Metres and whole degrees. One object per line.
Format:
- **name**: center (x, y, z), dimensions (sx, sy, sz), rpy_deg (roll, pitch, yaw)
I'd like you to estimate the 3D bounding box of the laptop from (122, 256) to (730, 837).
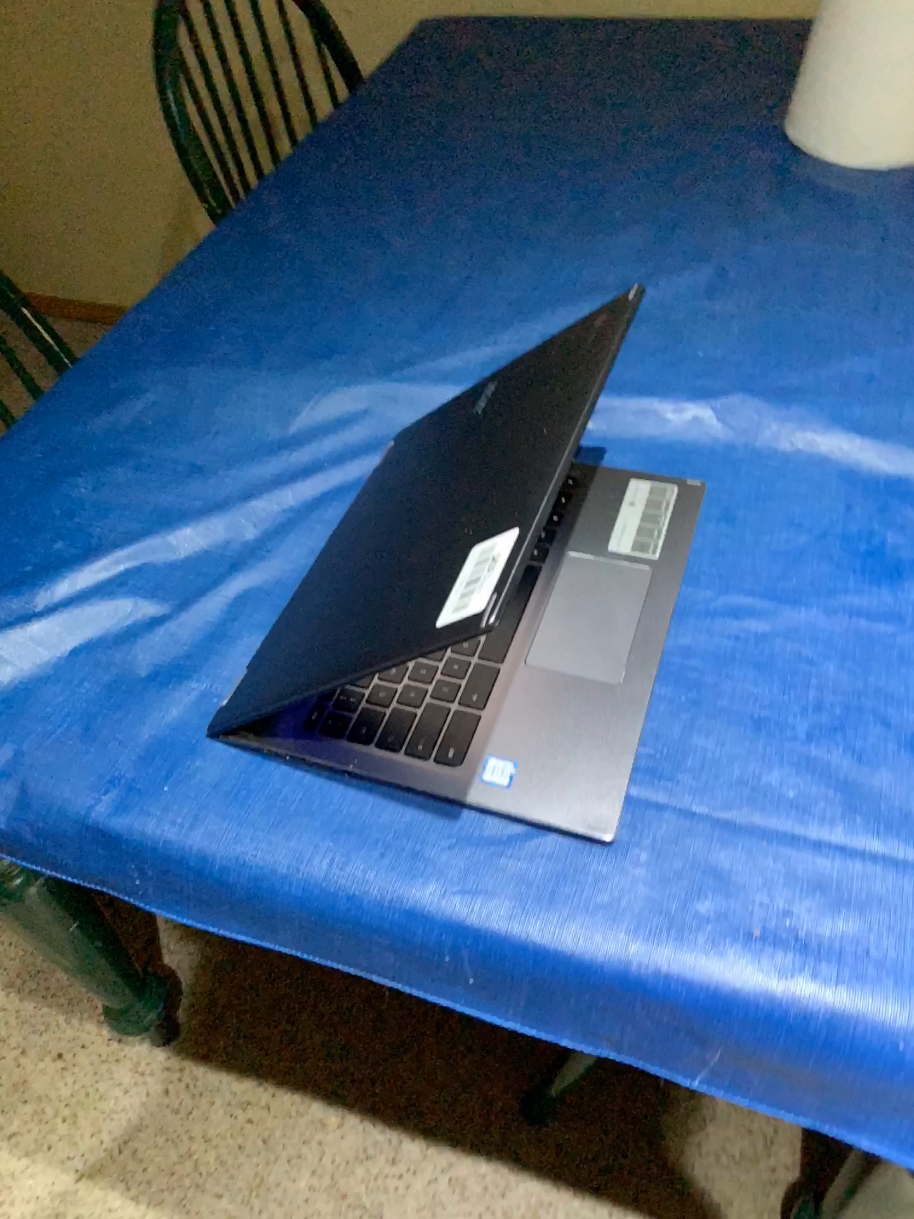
- **laptop**: center (0.008, -0.063, 0.574), dimensions (0.249, 0.151, 0.305), rpy_deg (12, 49, 17)
